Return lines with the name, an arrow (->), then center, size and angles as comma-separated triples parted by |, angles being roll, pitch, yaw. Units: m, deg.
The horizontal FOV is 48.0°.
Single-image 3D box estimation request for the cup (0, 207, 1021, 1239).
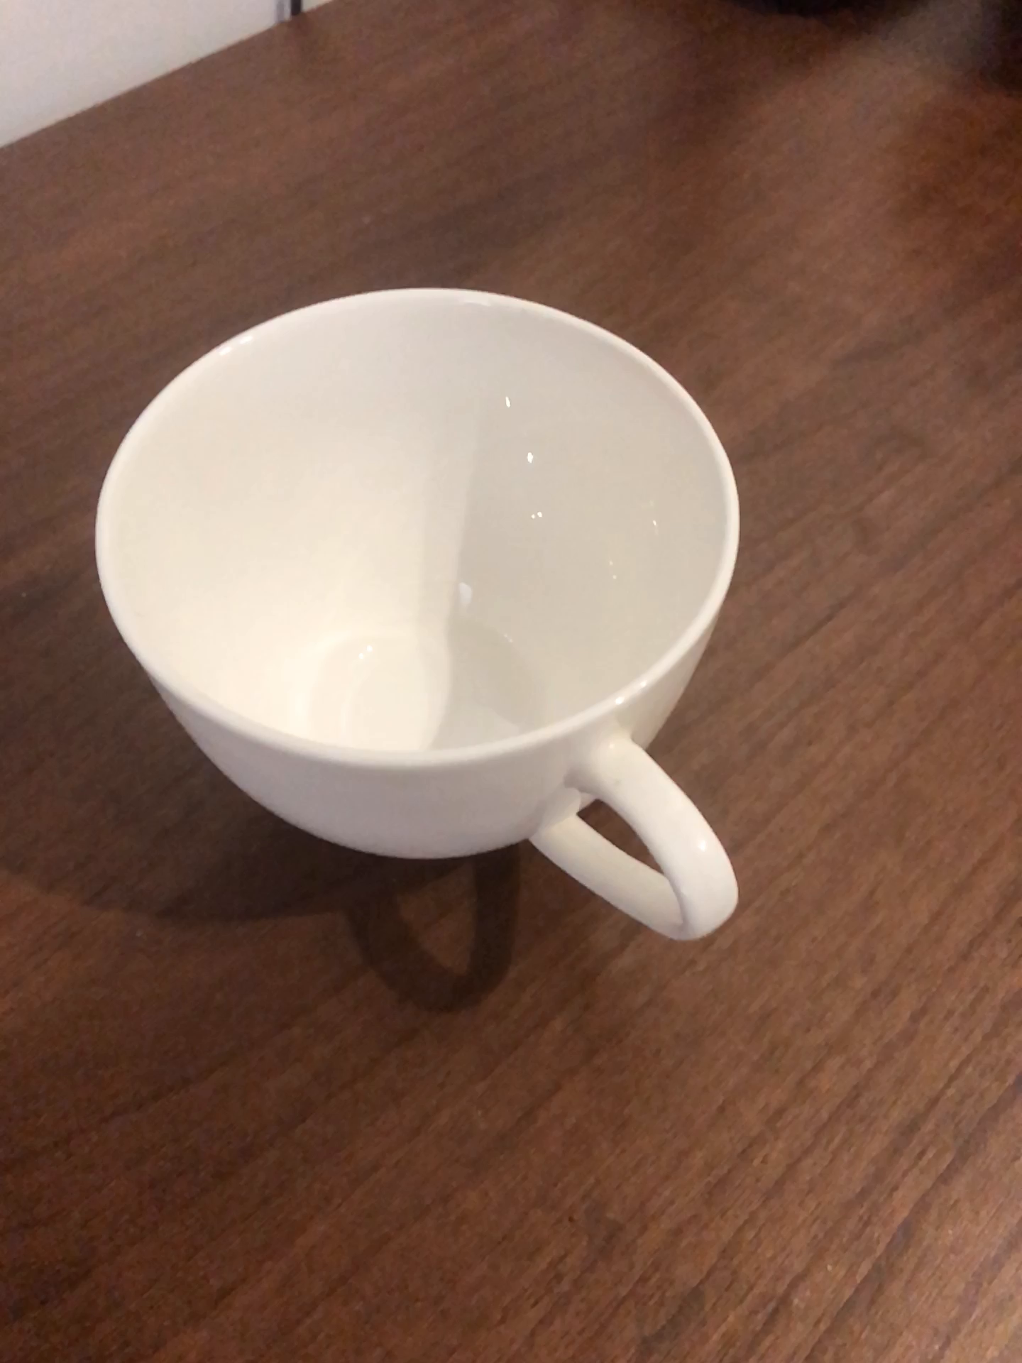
cup -> -0.005, 0.000, 0.174 | 0.090, 0.070, 0.110 | -28, 59, -18
